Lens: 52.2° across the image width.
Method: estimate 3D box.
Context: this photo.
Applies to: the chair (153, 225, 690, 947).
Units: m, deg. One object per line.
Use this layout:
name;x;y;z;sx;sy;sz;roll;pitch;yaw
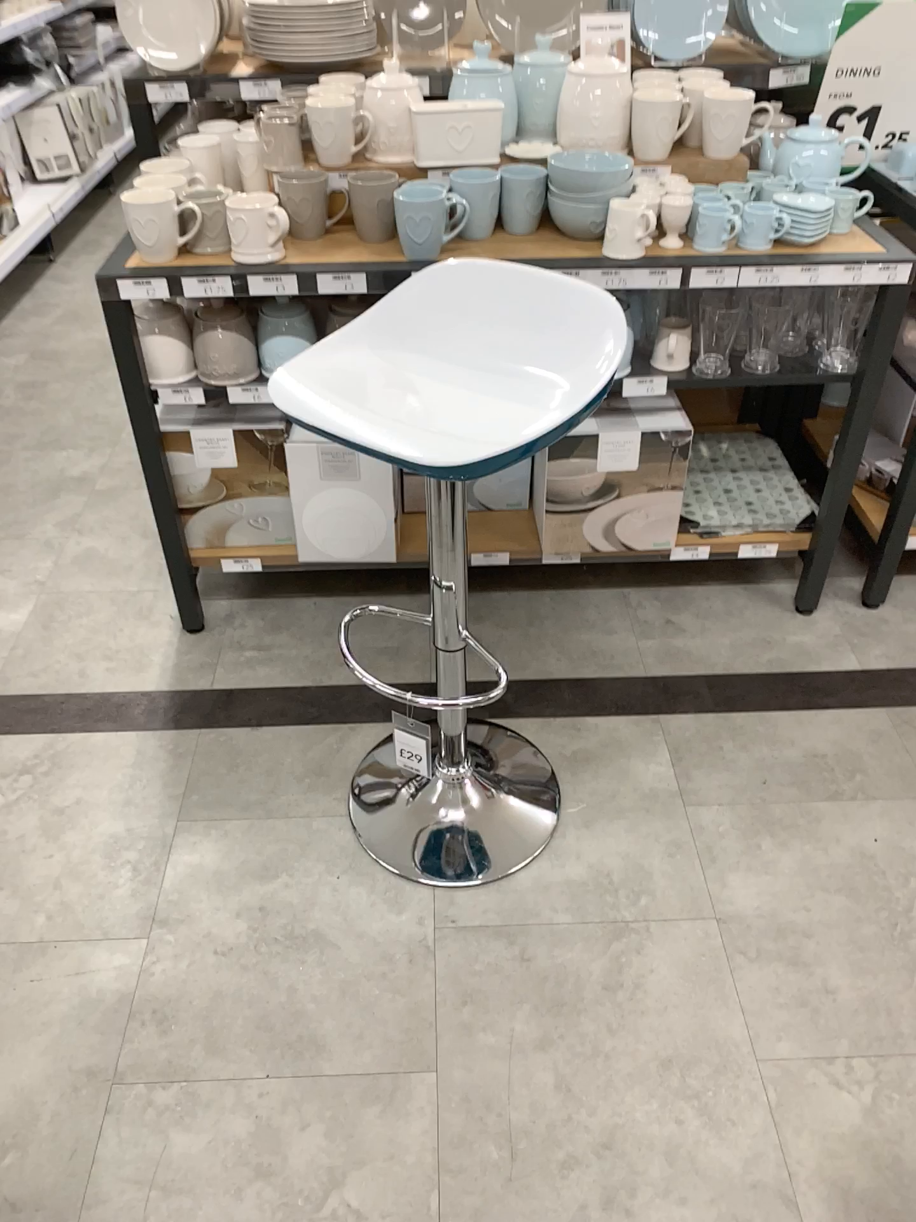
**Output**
chair;-0.028;-0.028;1.336;0.456;0.825;0.423;25;46;29
